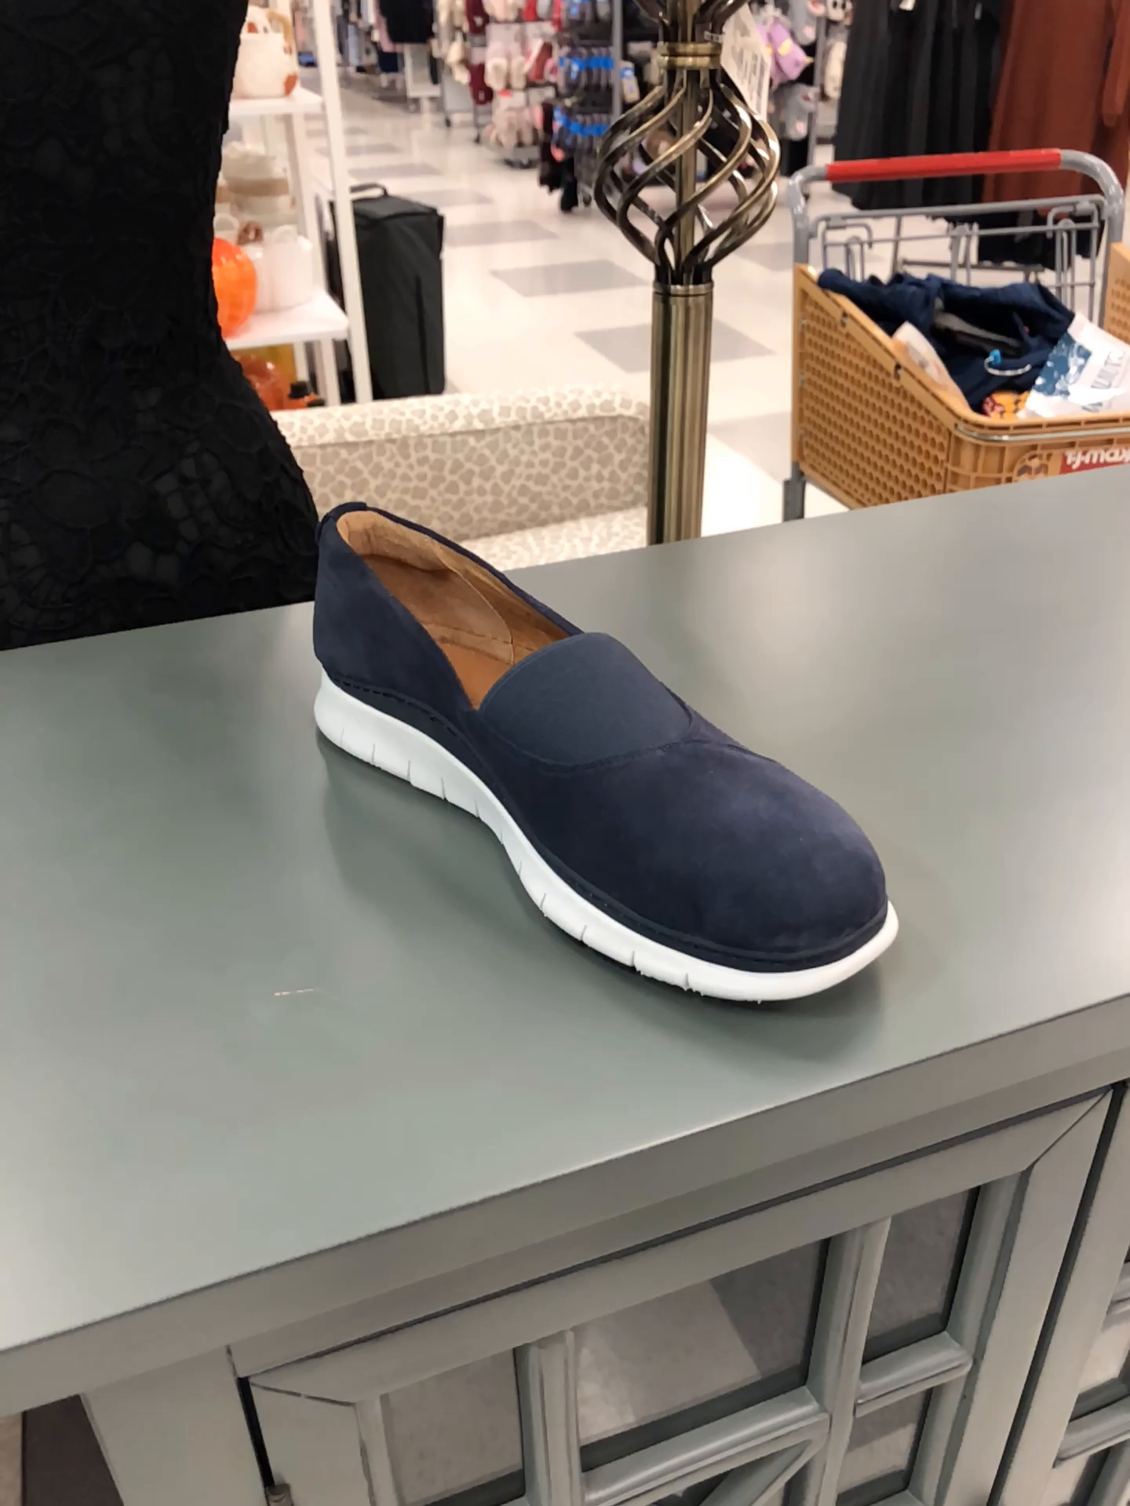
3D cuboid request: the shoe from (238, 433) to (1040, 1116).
[{"bbox_3d":[0.005,-0.018,0.432,0.110,0.102,0.271,-24,38,-31],"label":"shoe"}]
